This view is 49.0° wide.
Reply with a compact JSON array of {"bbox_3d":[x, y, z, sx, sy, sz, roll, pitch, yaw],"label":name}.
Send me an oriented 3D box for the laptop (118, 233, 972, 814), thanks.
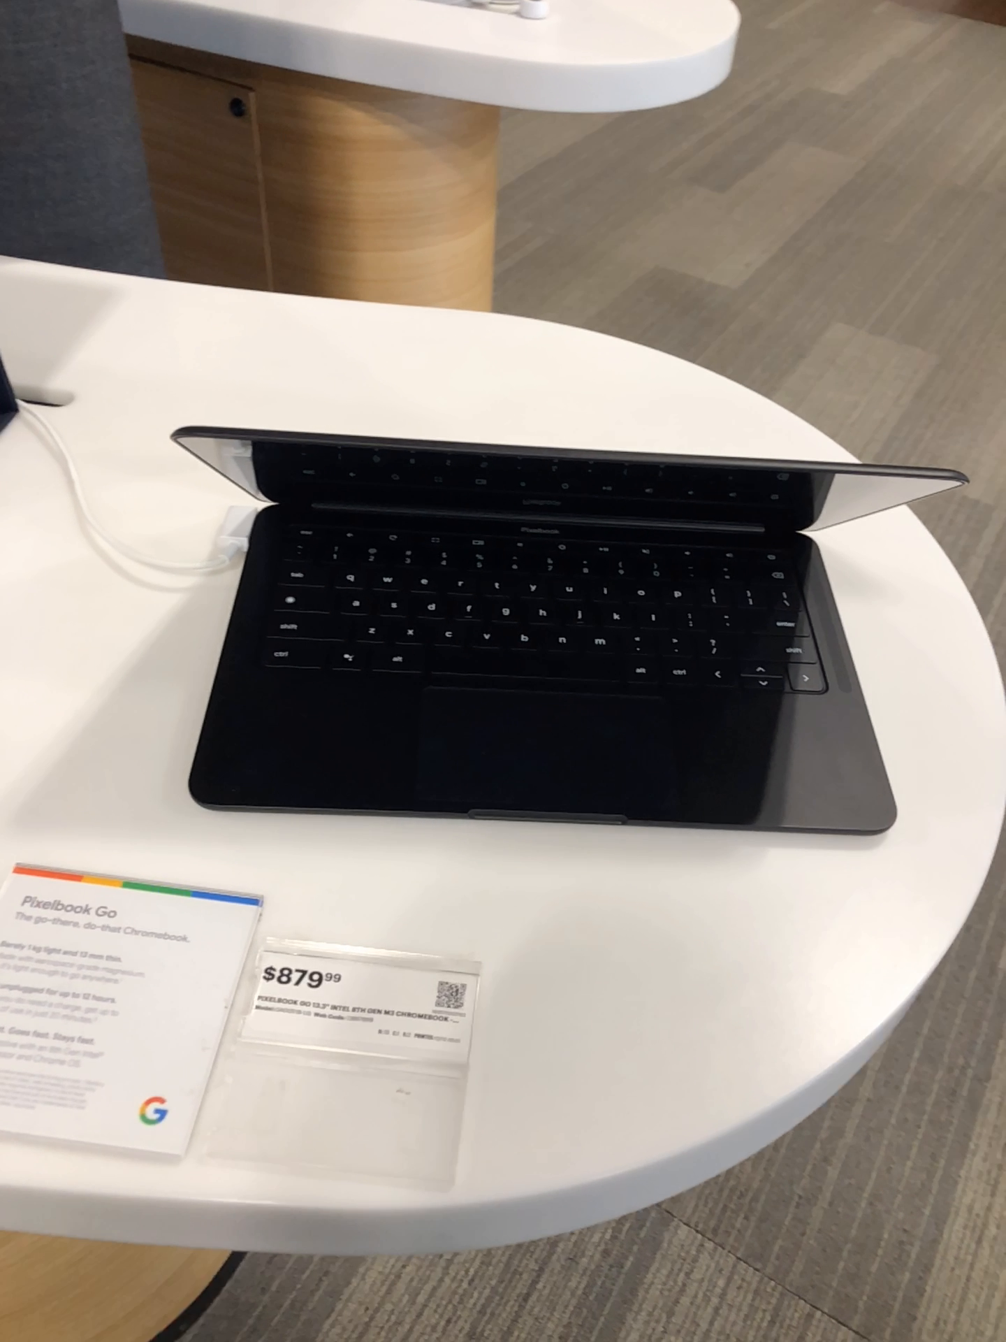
[{"bbox_3d":[0.016,-0.063,0.475,0.278,0.146,0.192,3,45,-5],"label":"laptop"}]
